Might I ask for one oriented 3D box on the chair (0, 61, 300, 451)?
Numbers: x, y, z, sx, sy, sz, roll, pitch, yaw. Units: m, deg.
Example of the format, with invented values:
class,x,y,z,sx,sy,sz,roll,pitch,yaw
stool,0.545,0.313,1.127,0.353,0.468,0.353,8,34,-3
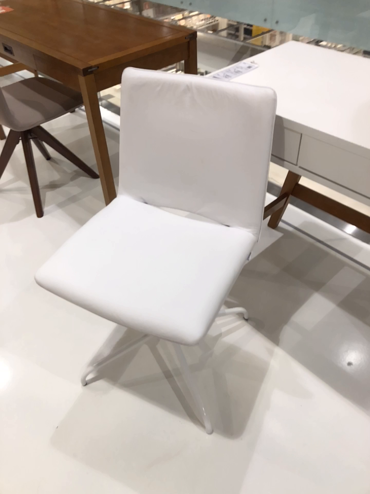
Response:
class,x,y,z,sx,sy,sz,roll,pitch,yaw
chair,-0.062,0.037,1.116,0.511,0.843,0.503,16,46,21
